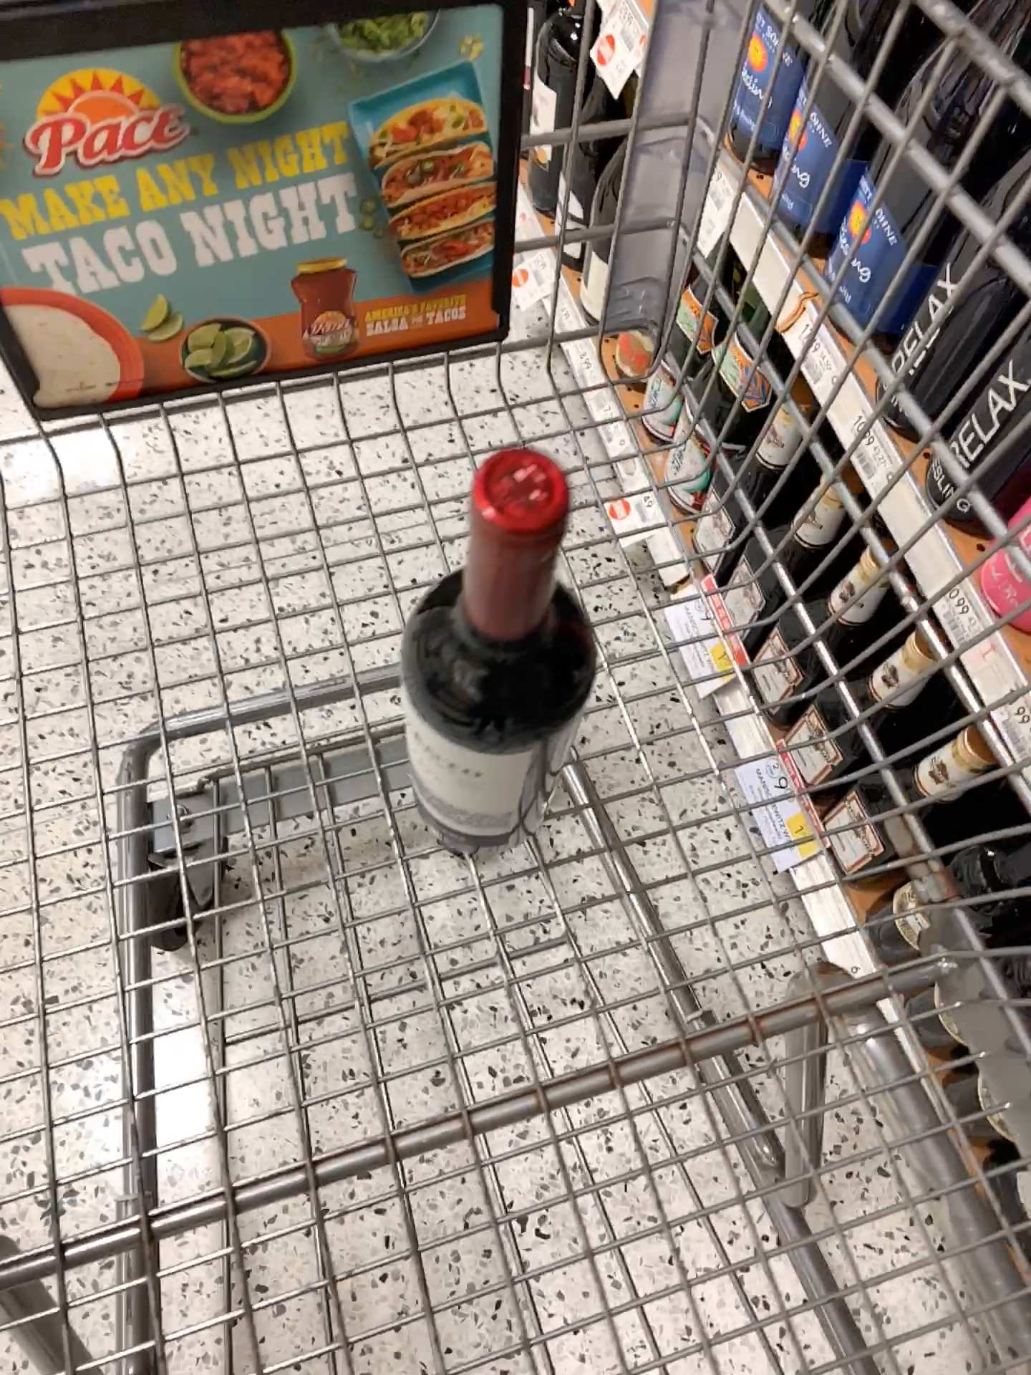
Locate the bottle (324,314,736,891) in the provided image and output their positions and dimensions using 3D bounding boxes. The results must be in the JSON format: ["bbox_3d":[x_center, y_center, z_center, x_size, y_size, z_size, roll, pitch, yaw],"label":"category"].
[{"bbox_3d":[-0.009,-0.002,0.423,0.080,0.298,0.090,-23,73,-13],"label":"bottle"}]
